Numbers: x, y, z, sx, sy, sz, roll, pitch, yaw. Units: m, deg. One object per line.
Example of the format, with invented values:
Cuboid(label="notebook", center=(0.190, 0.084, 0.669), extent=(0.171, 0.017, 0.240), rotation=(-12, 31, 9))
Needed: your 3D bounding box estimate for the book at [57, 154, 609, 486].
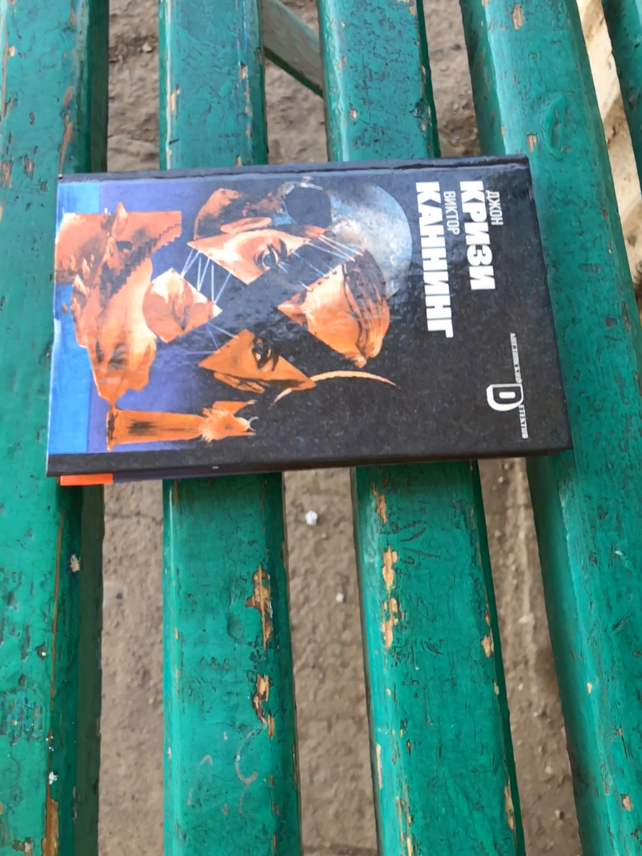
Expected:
Cuboid(label="book", center=(0.003, -0.048, 0.301), extent=(0.211, 0.020, 0.134), rotation=(-2, 75, -1))
